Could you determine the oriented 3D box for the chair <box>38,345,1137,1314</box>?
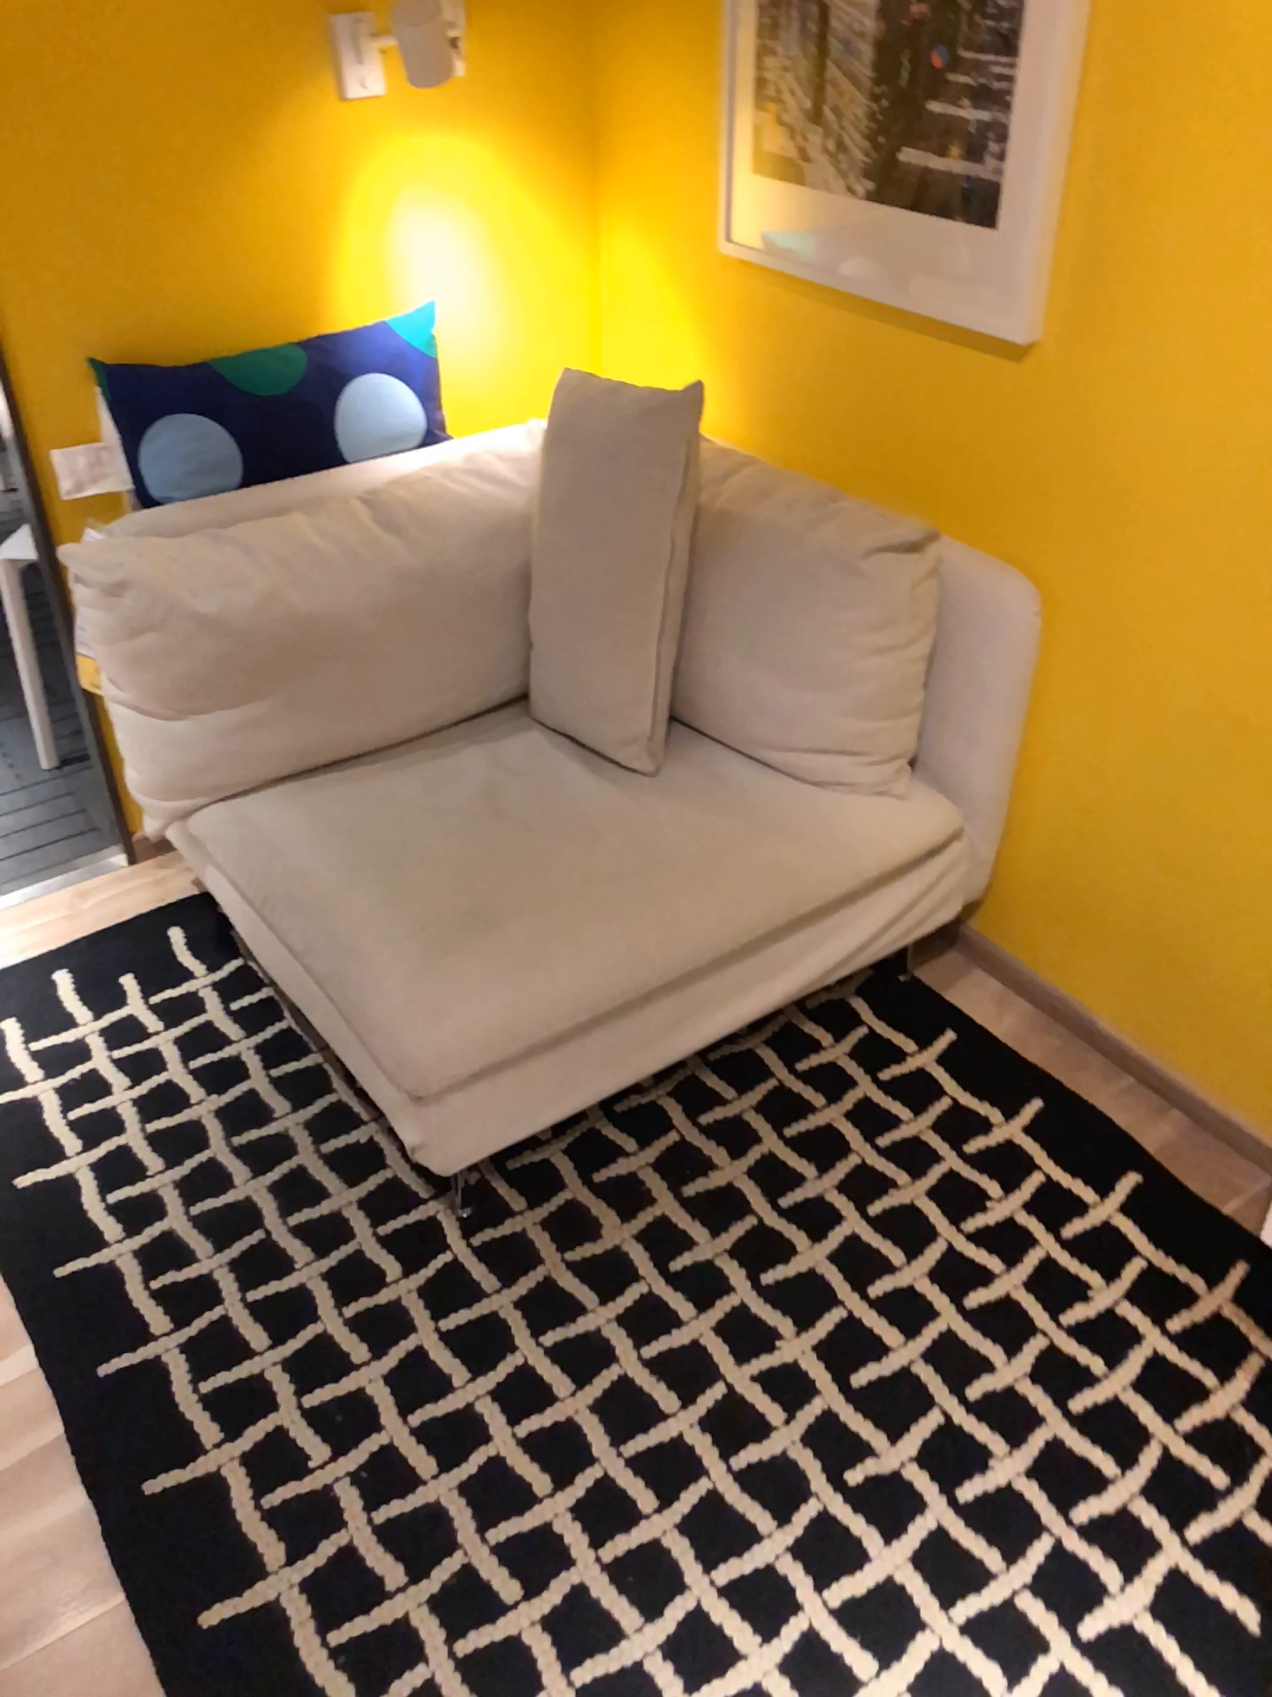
[{"bbox_3d":[-0.094,-0.164,2.091,1.113,0.755,1.015,-22,40,-28],"label":"chair"}]
